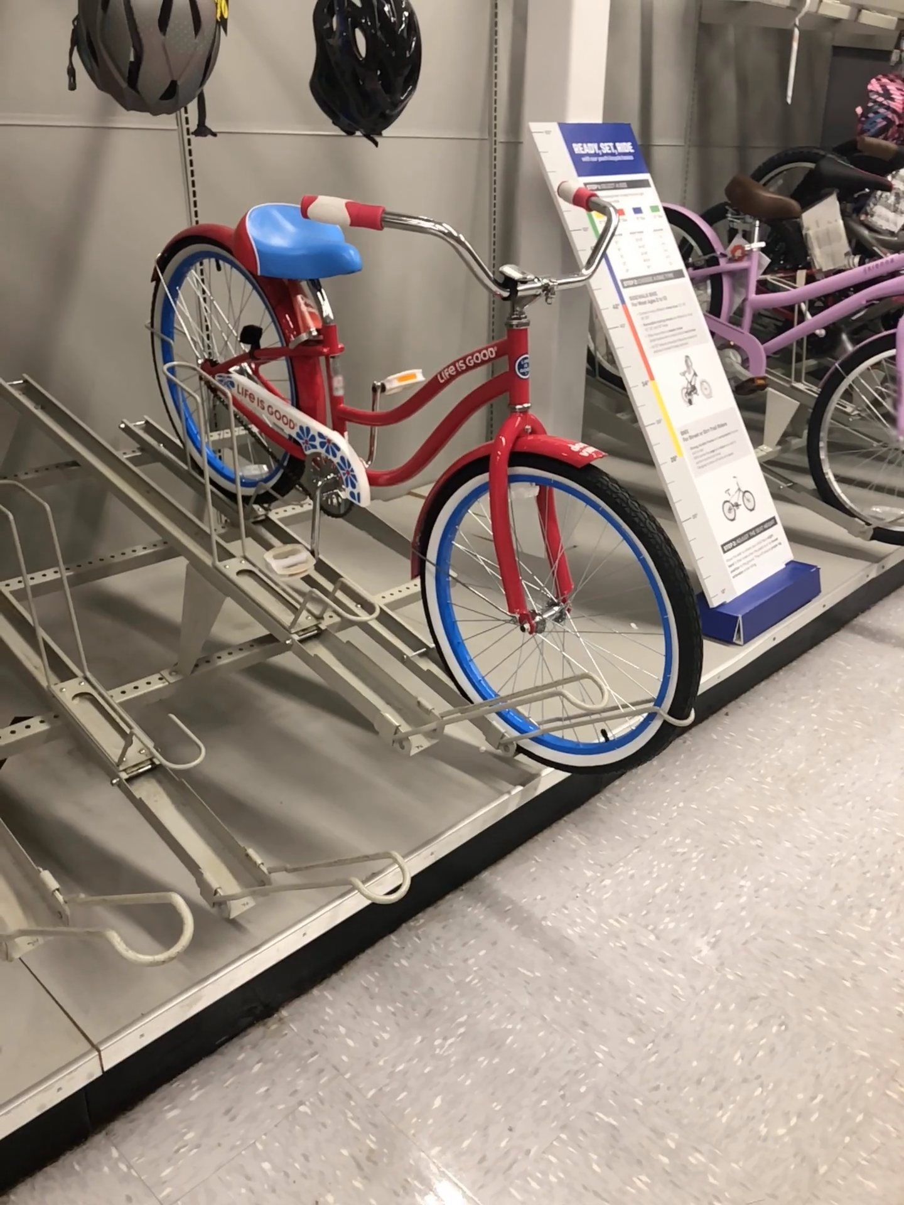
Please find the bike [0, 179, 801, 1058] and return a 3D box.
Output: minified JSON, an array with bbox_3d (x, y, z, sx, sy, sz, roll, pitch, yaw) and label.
[{"bbox_3d":[-0.199,-0.200,2.022,1.609,0.676,0.812,37,39,30],"label":"bike"}]
